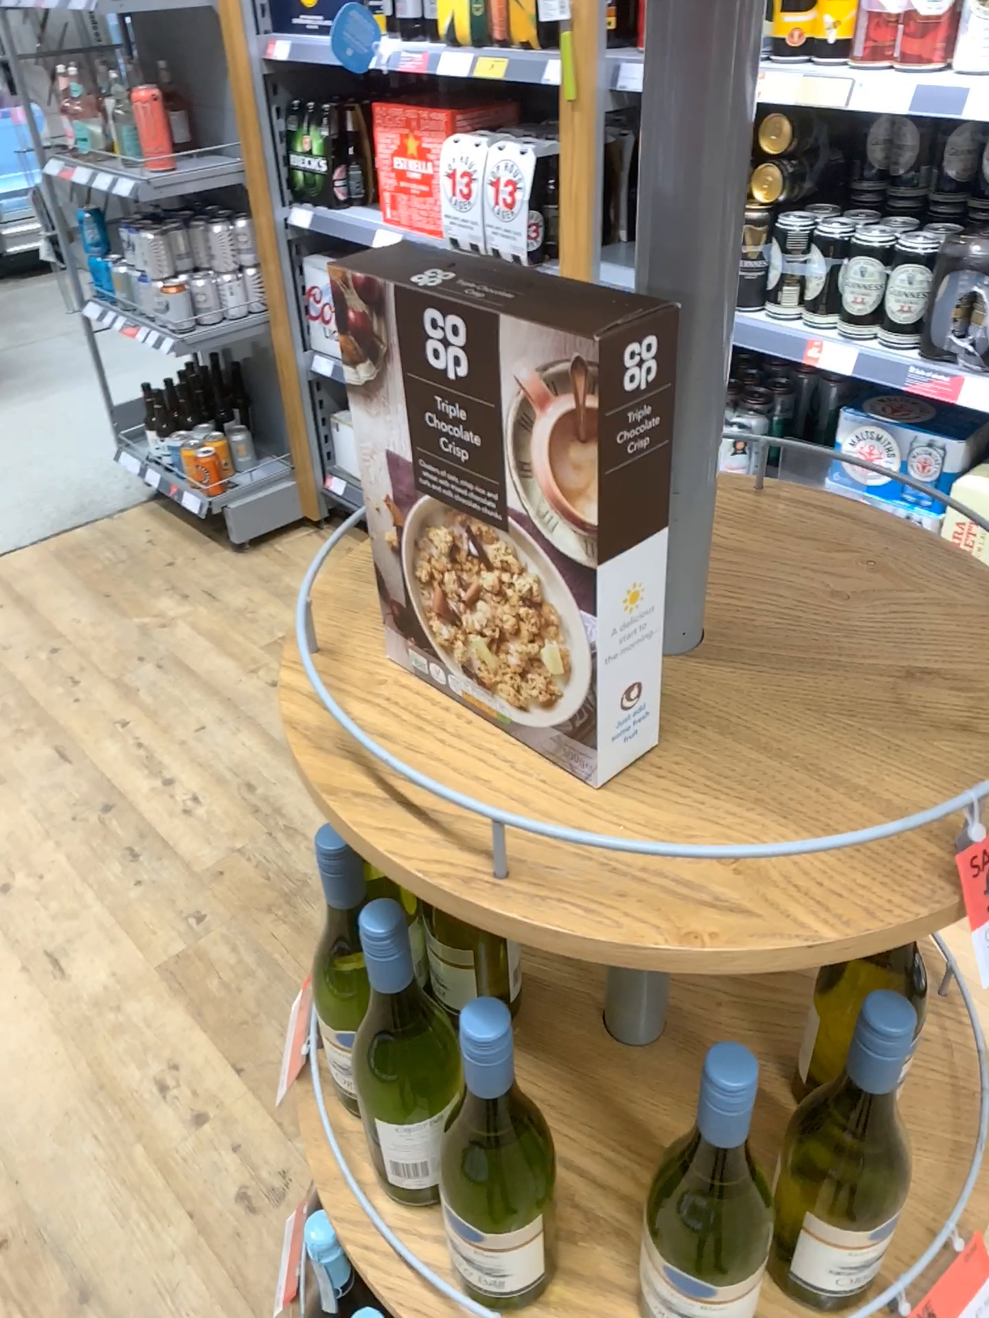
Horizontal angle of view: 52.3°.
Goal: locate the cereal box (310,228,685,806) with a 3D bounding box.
[{"bbox_3d":[0.000,-0.073,0.522,0.050,0.247,0.191,-31,44,-32],"label":"cereal box"}]
